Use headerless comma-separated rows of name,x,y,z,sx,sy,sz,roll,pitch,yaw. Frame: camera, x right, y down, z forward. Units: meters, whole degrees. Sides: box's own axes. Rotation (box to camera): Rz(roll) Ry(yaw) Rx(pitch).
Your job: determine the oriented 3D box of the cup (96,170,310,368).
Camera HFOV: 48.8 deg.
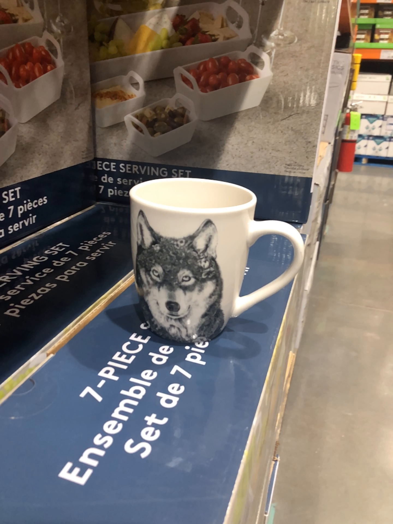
cup,0.010,-0.003,0.318,0.128,0.102,0.094,7,23,13
